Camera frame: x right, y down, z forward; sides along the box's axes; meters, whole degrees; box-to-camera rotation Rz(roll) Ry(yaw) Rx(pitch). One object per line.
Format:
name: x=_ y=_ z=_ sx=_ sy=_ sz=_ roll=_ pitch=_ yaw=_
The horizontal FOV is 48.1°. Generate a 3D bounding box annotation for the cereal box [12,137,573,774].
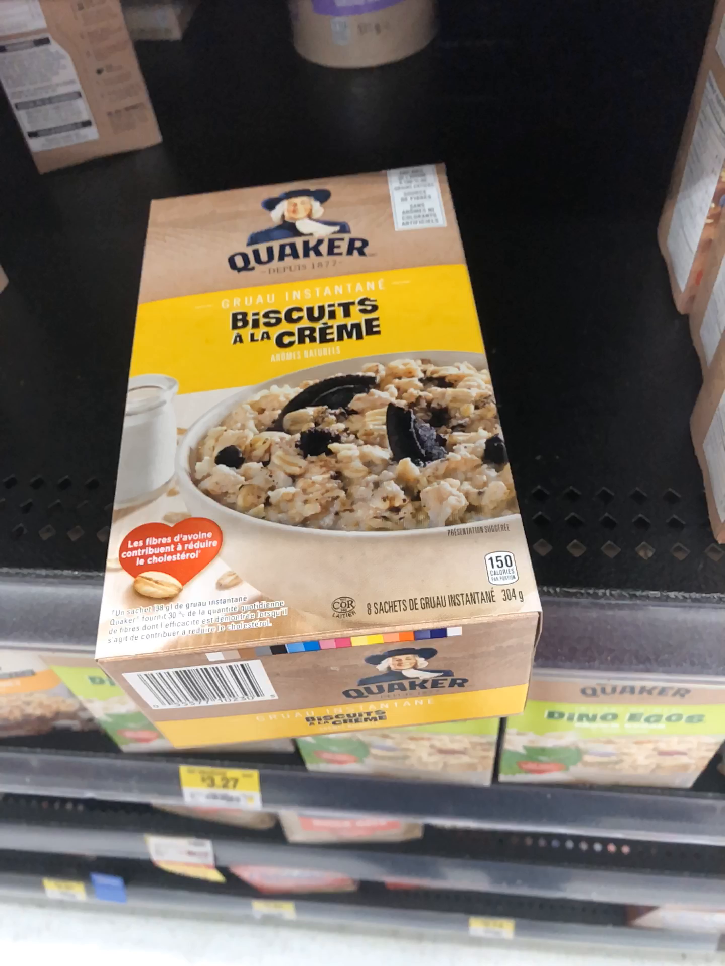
cereal box: x=-0.022 y=-0.020 z=0.288 sx=0.140 sy=0.070 sz=0.211 roll=-6 pitch=56 yaw=2
